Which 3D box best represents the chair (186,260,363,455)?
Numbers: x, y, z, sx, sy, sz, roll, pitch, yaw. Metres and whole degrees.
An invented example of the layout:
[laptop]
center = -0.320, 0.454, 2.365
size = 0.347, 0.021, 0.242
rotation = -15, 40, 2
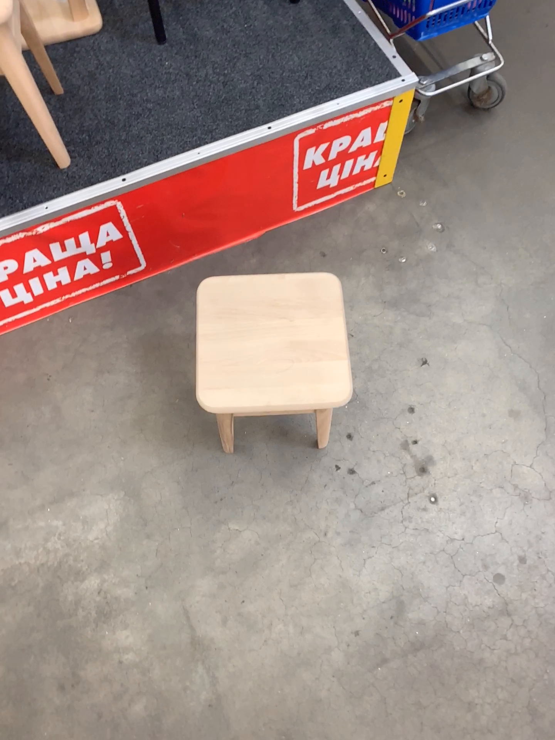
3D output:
[chair]
center = -0.009, -0.010, 0.996
size = 0.260, 0.260, 0.250
rotation = -2, 67, -1
